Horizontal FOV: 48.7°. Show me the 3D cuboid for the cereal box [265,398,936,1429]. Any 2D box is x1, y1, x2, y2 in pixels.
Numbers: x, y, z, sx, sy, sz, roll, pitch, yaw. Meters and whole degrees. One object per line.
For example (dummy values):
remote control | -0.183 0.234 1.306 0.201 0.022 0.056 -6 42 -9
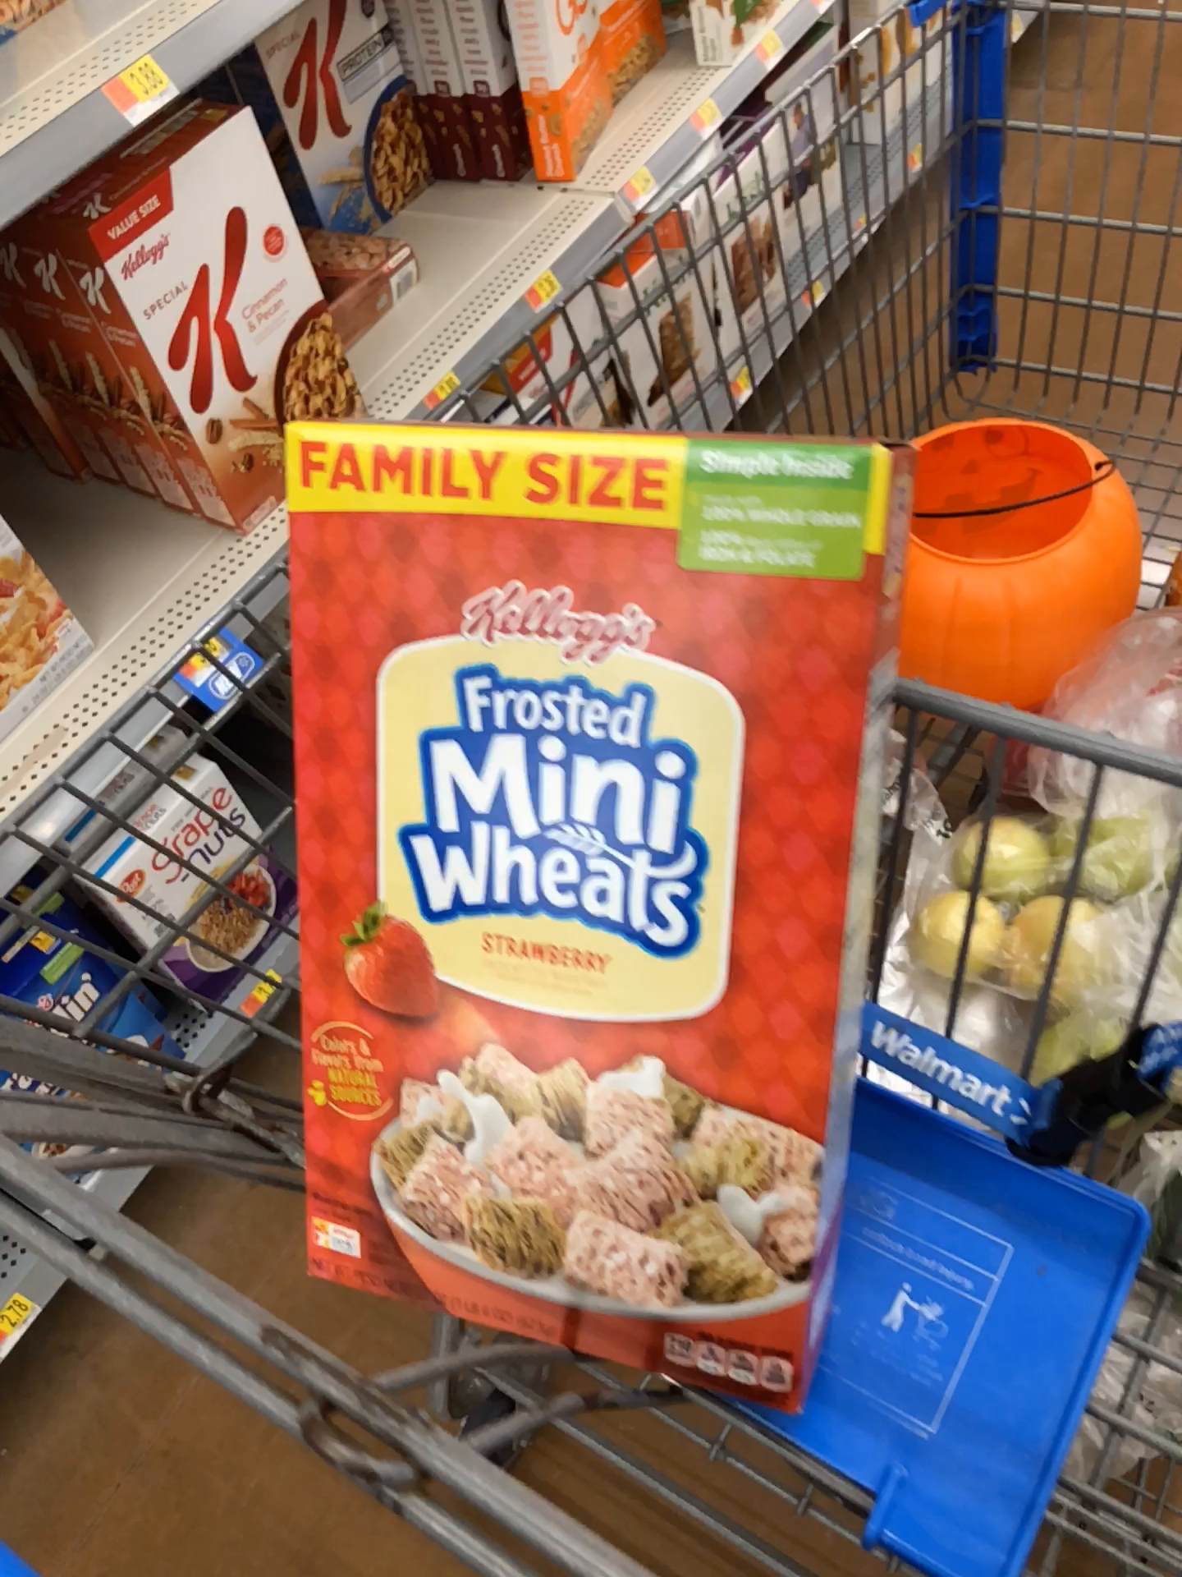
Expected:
cereal box | -0.002 0.035 0.452 0.200 0.320 0.070 7 15 20
